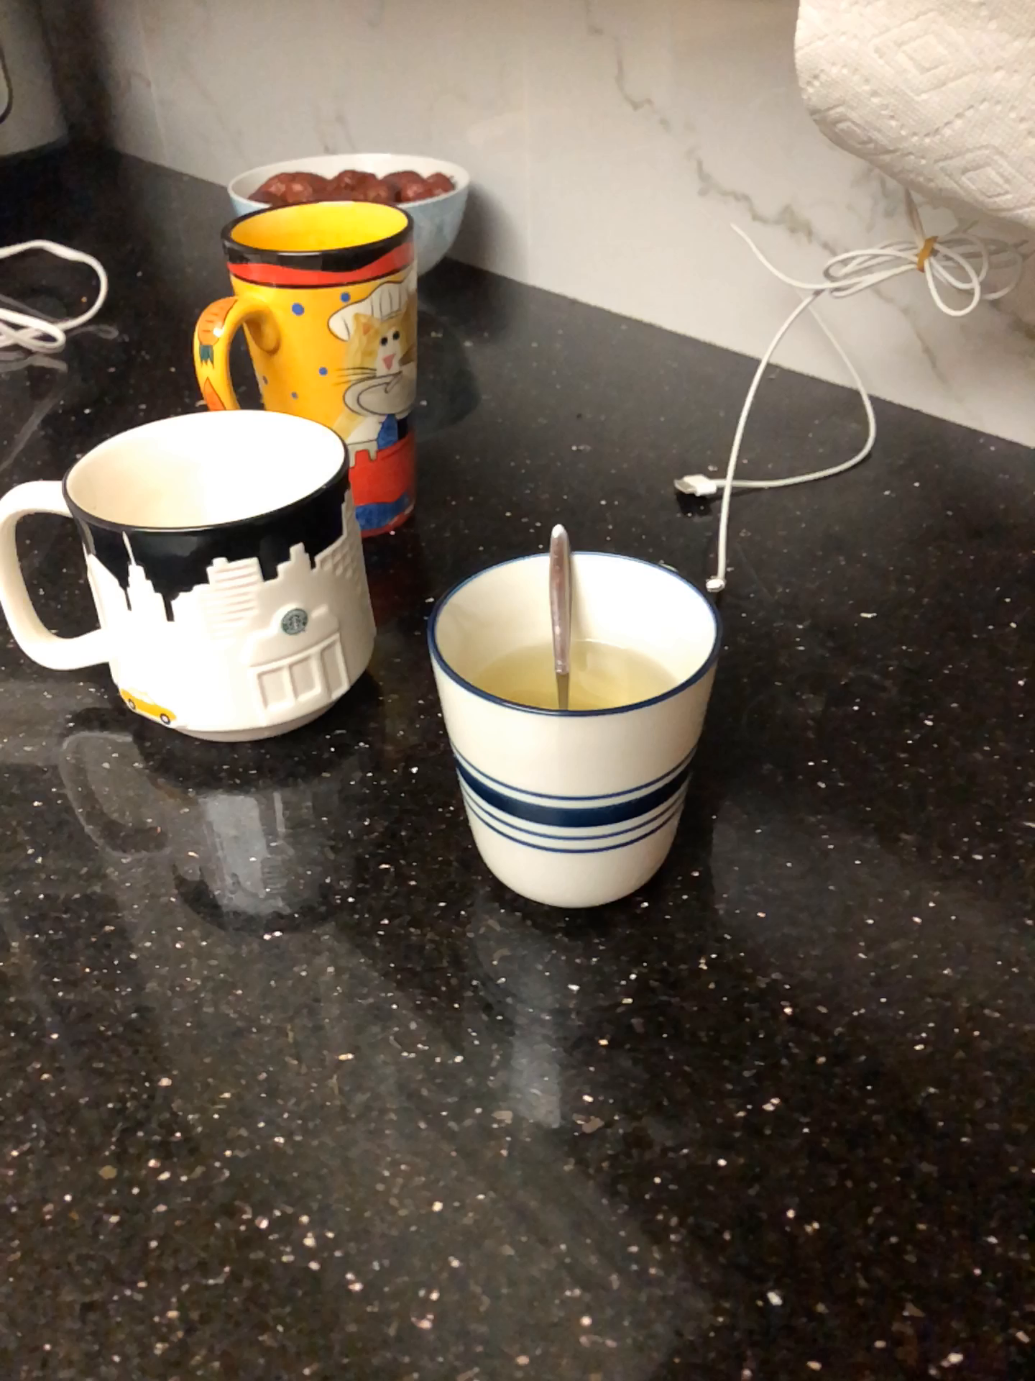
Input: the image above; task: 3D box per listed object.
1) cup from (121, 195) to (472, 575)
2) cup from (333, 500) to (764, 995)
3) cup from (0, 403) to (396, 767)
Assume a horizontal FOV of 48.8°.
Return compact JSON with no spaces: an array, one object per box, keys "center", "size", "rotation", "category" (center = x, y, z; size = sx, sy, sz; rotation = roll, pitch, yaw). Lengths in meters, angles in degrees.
[{"center":[-0.097,-0.152,0.552],"size":[0.090,0.129,0.131],"rotation":[17,40,24],"category":"cup"},{"center":[0.018,0.010,0.380],"size":[0.100,0.080,0.141],"rotation":[9,38,15],"category":"cup"},{"center":[-0.131,-0.045,0.456],"size":[0.140,0.099,0.111],"rotation":[1,36,4],"category":"cup"}]
